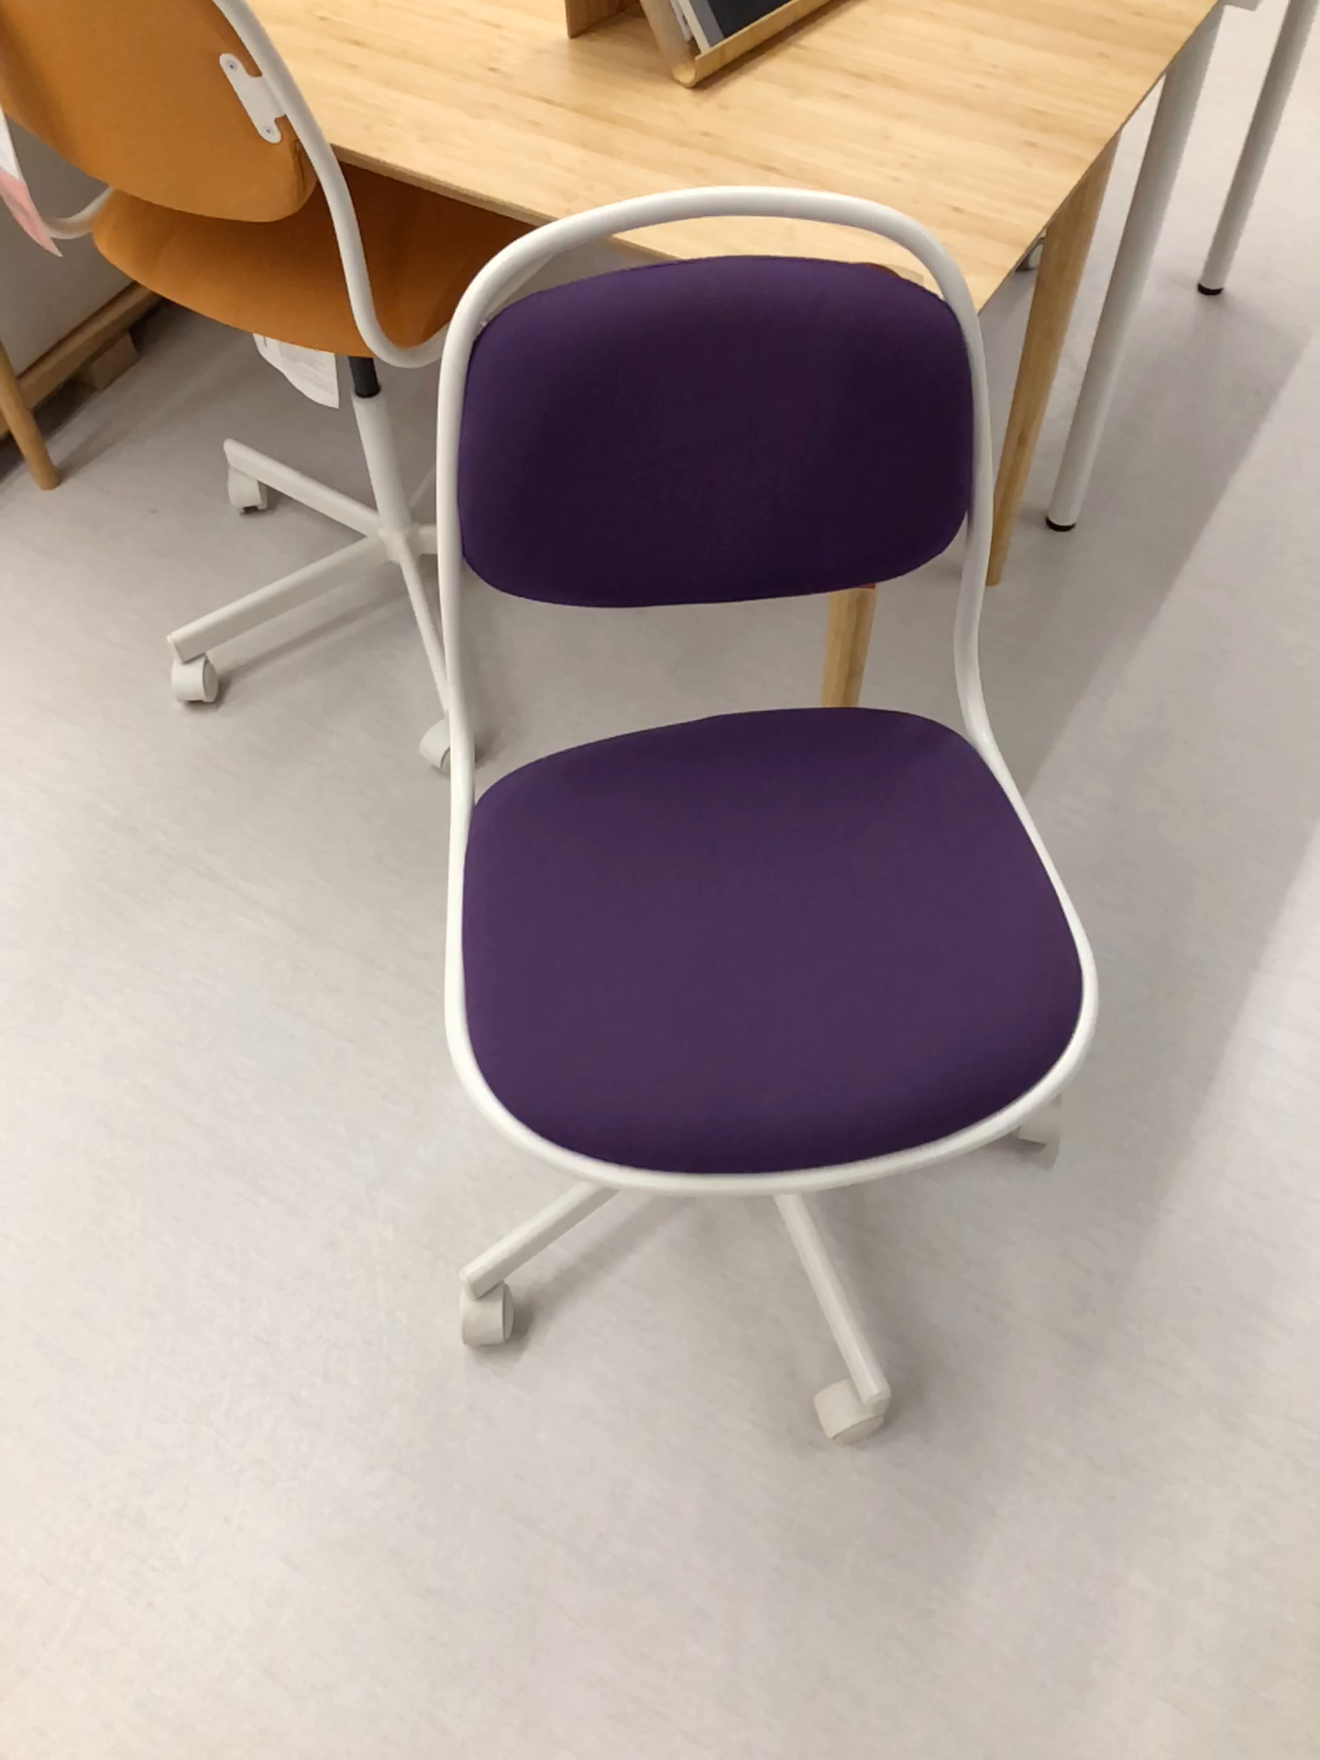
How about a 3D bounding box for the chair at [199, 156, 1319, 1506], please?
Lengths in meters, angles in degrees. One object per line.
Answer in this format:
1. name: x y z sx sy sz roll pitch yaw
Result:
1. chair: 0.088 0.013 1.123 0.620 0.776 0.664 -5 55 -3
